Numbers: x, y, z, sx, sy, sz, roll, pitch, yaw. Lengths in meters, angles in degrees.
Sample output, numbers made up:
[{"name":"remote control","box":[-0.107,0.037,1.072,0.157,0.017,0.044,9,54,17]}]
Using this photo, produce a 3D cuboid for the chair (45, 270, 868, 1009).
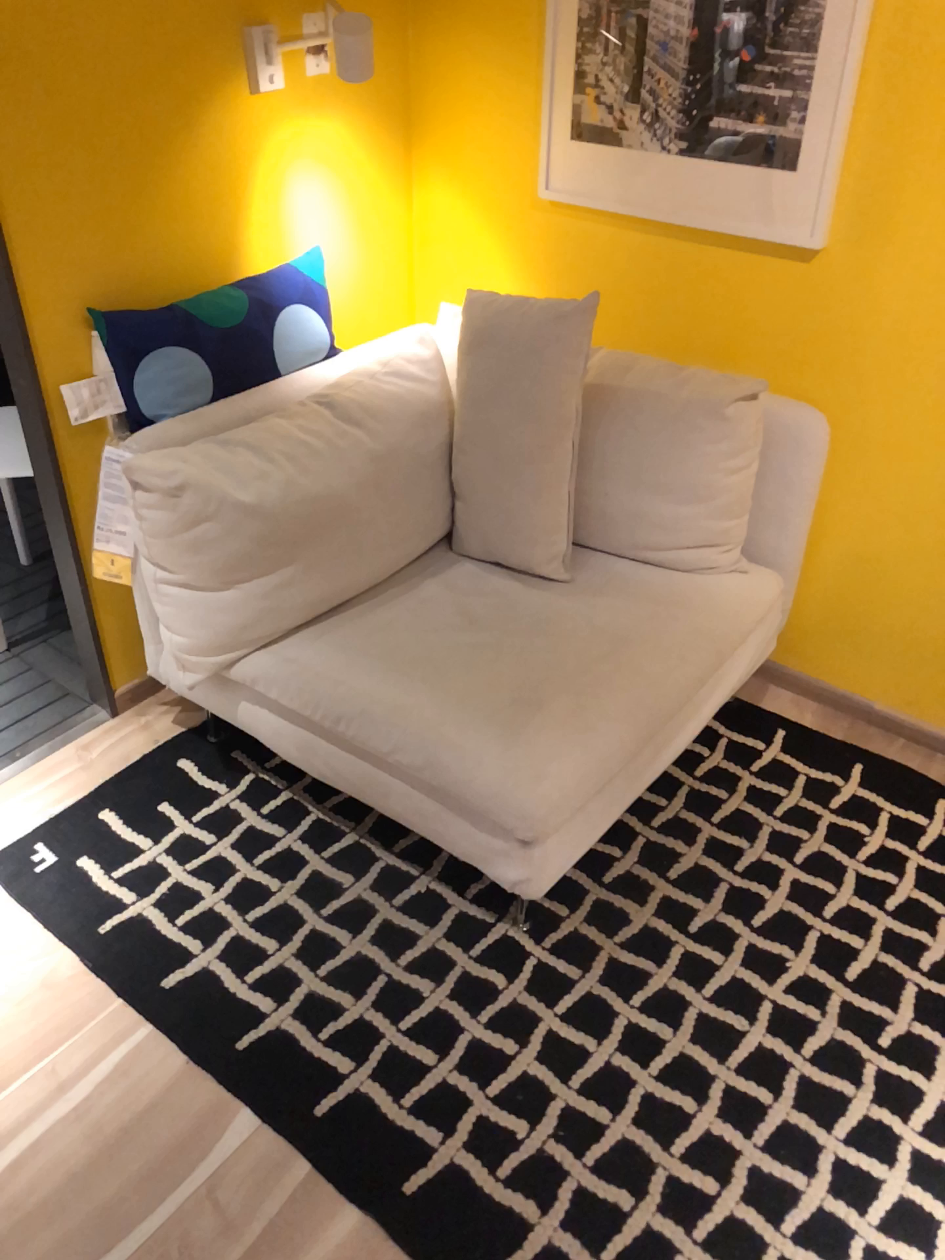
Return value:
[{"name":"chair","box":[0.013,-0.129,2.067,1.013,0.755,1.115,24,41,31]}]
